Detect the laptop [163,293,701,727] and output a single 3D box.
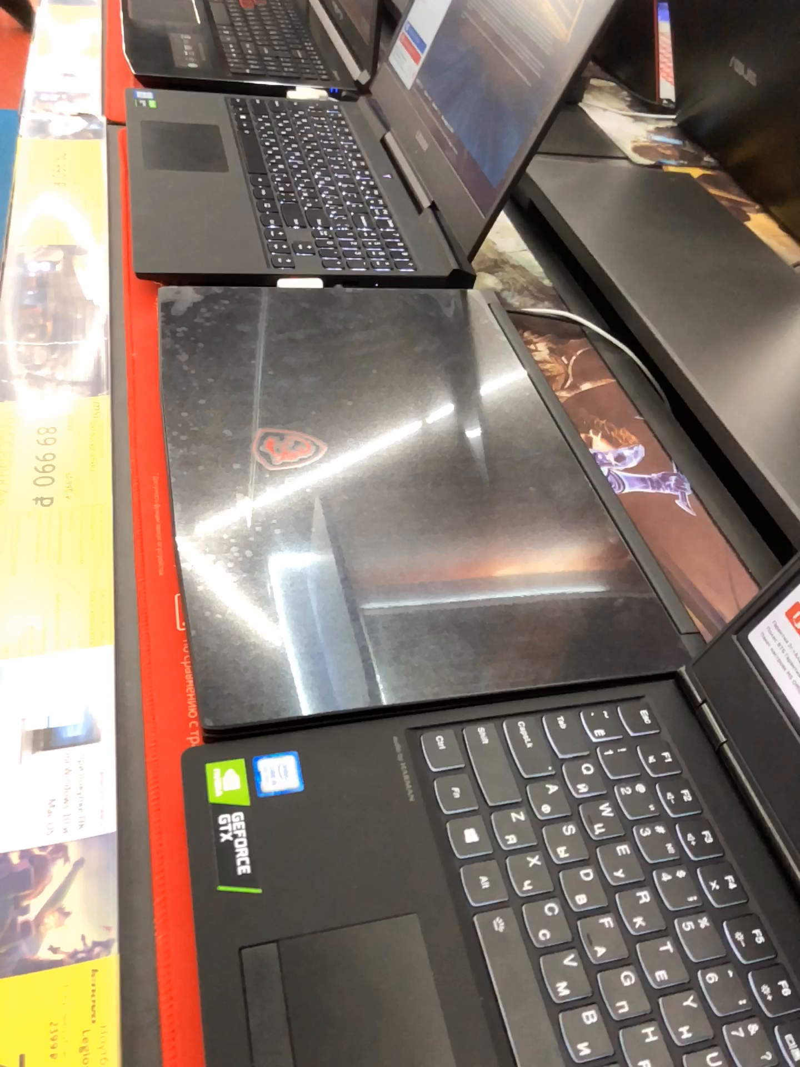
[{"bbox_3d":[-0.008,-0.052,0.518,0.239,0.002,0.354,-4,45,-16],"label":"laptop"}]
